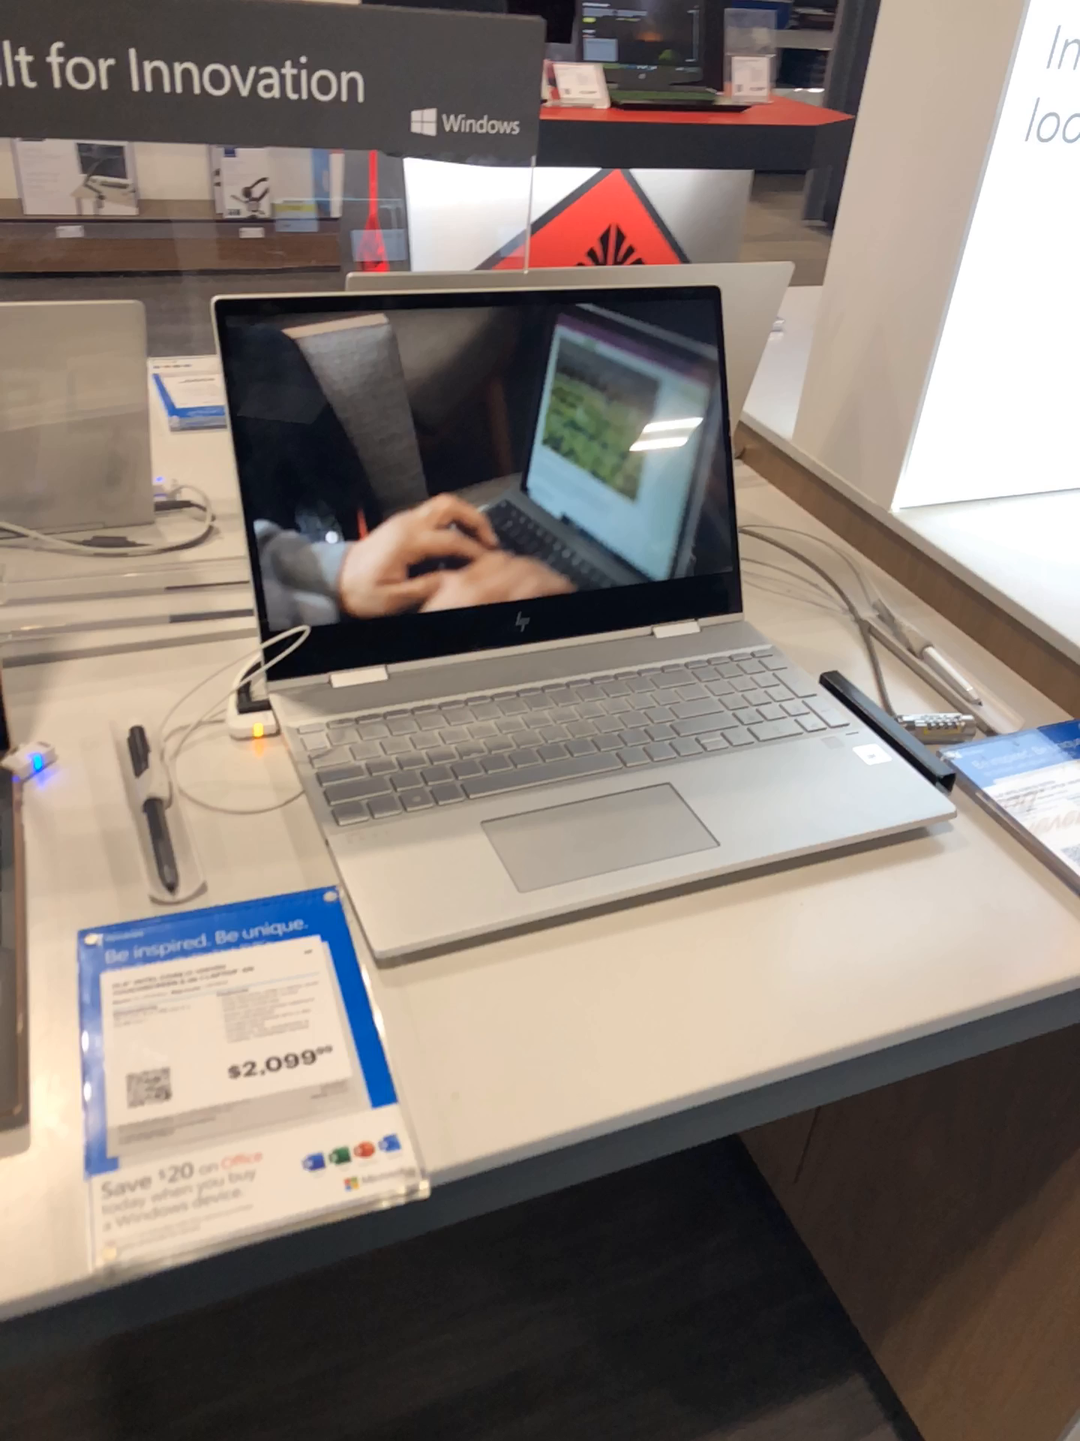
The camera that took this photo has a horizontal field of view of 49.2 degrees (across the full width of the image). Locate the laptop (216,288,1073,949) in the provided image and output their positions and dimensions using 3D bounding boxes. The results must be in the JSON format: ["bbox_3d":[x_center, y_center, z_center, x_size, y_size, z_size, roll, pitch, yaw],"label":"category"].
[{"bbox_3d":[0.025,-0.101,0.713,0.359,0.210,0.355,-10,36,-21],"label":"laptop"}]
